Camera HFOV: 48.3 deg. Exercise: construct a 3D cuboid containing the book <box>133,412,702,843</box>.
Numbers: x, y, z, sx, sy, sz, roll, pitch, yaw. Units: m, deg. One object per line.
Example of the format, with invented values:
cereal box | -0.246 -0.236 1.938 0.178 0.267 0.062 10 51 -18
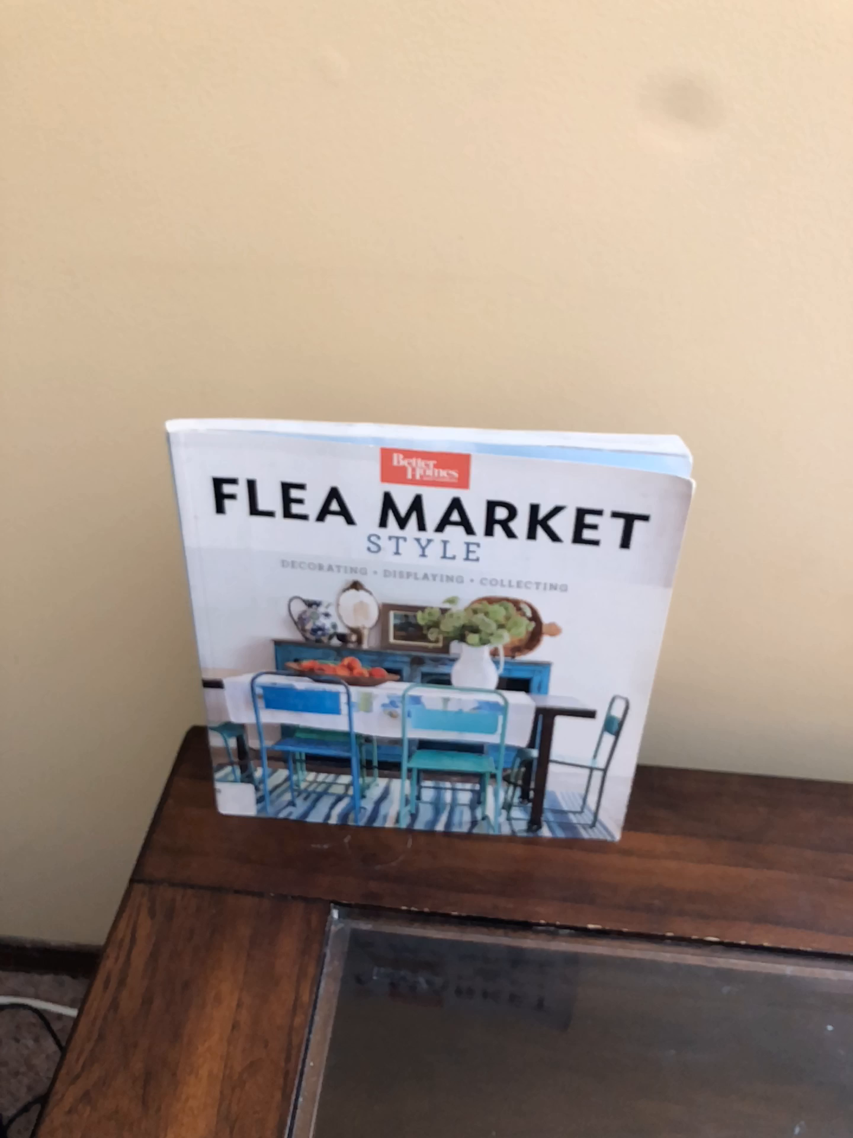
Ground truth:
book | -0.006 0.041 0.473 0.233 0.239 0.032 3 37 2
